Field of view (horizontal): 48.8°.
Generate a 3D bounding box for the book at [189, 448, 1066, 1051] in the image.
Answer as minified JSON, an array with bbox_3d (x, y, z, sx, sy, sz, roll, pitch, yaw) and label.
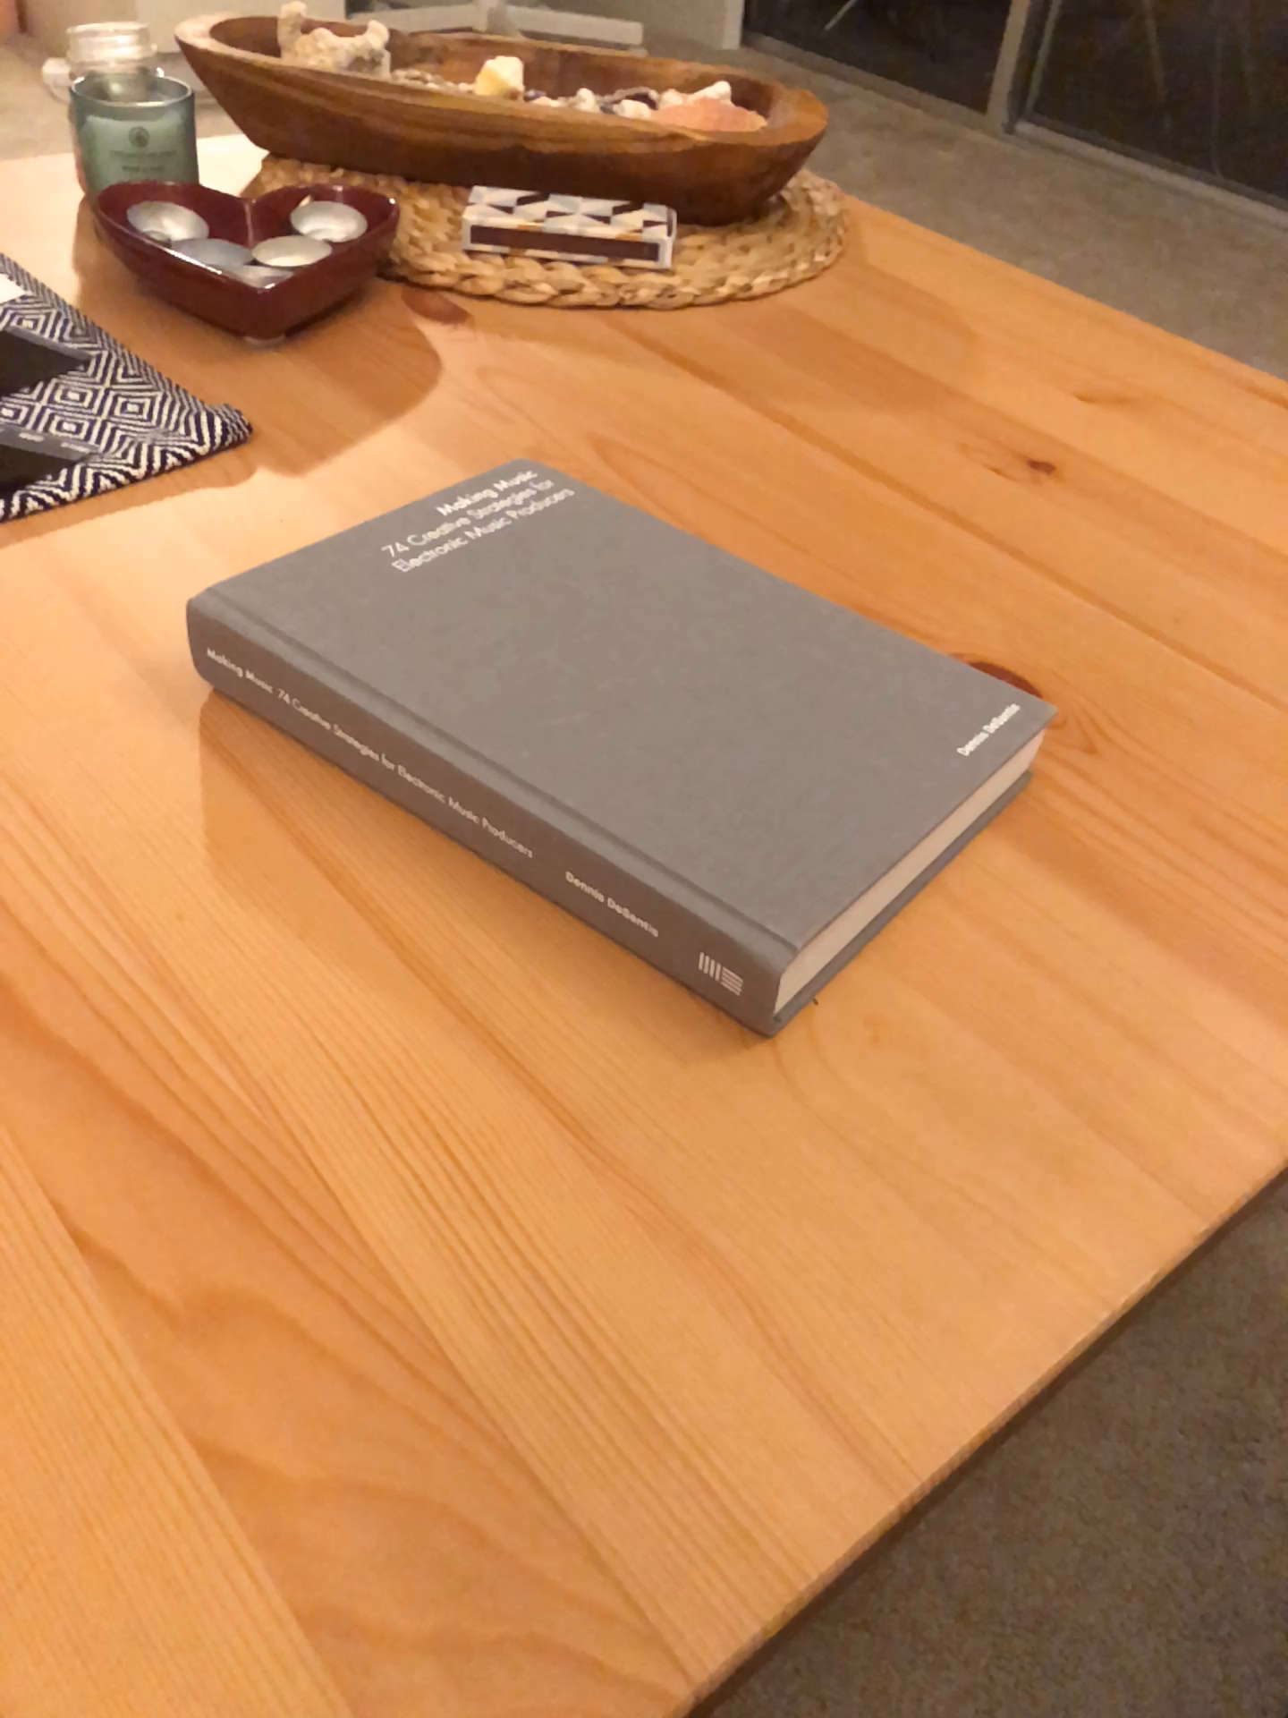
[{"bbox_3d":[-0.005,-0.055,0.463,0.227,0.030,0.167,32,47,24],"label":"book"}]
